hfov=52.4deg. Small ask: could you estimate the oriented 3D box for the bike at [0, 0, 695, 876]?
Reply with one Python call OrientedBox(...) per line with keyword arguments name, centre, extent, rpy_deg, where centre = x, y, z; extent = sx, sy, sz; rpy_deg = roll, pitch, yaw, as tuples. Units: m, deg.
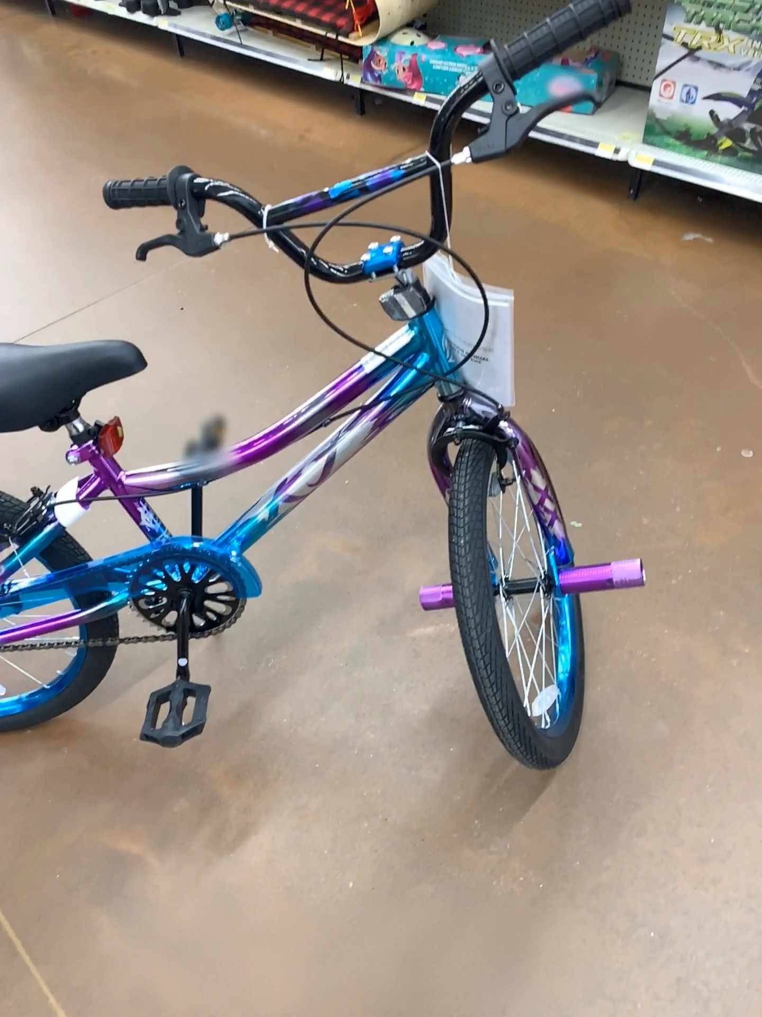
OrientedBox(name="bike", centre=(-0.310, -0.157, 1.038), extent=(1.119, 0.877, 0.623), rpy_deg=(-11, 46, -8))
